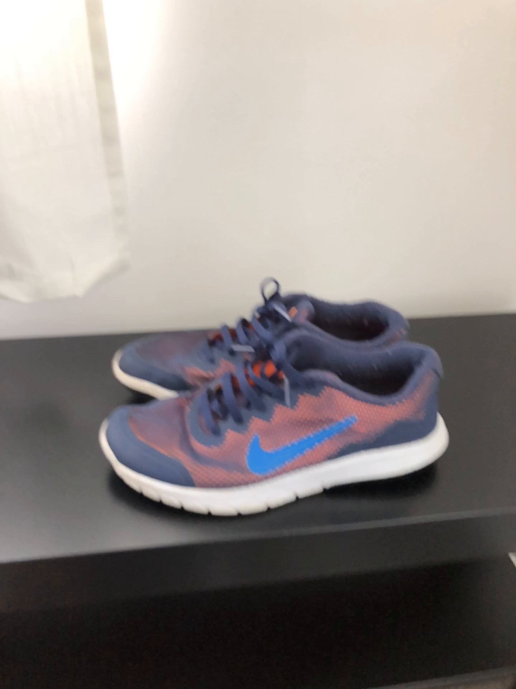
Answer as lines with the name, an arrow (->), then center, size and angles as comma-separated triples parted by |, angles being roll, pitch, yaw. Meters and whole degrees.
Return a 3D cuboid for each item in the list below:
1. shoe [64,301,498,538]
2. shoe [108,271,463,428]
shoe -> 0.009, 0.043, 0.411 | 0.260, 0.089, 0.121 | -4, 32, -10
shoe -> 0.018, 0.000, 0.485 | 0.260, 0.089, 0.100 | 0, 32, -4
